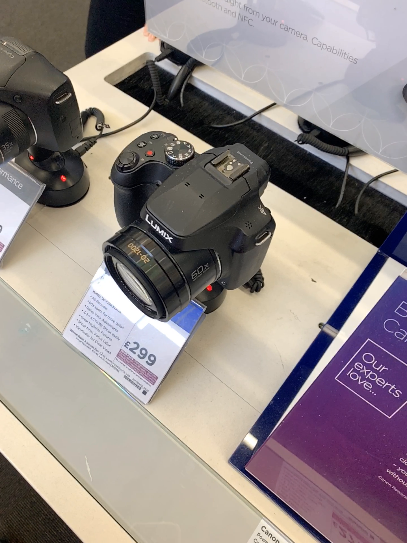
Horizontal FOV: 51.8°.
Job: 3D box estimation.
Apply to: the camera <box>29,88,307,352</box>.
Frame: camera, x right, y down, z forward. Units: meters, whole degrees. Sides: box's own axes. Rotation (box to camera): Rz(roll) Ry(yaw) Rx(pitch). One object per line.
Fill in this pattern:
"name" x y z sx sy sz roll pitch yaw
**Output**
"camera" -0.023 -0.041 0.301 0.130 0.079 0.120 39 64 19
